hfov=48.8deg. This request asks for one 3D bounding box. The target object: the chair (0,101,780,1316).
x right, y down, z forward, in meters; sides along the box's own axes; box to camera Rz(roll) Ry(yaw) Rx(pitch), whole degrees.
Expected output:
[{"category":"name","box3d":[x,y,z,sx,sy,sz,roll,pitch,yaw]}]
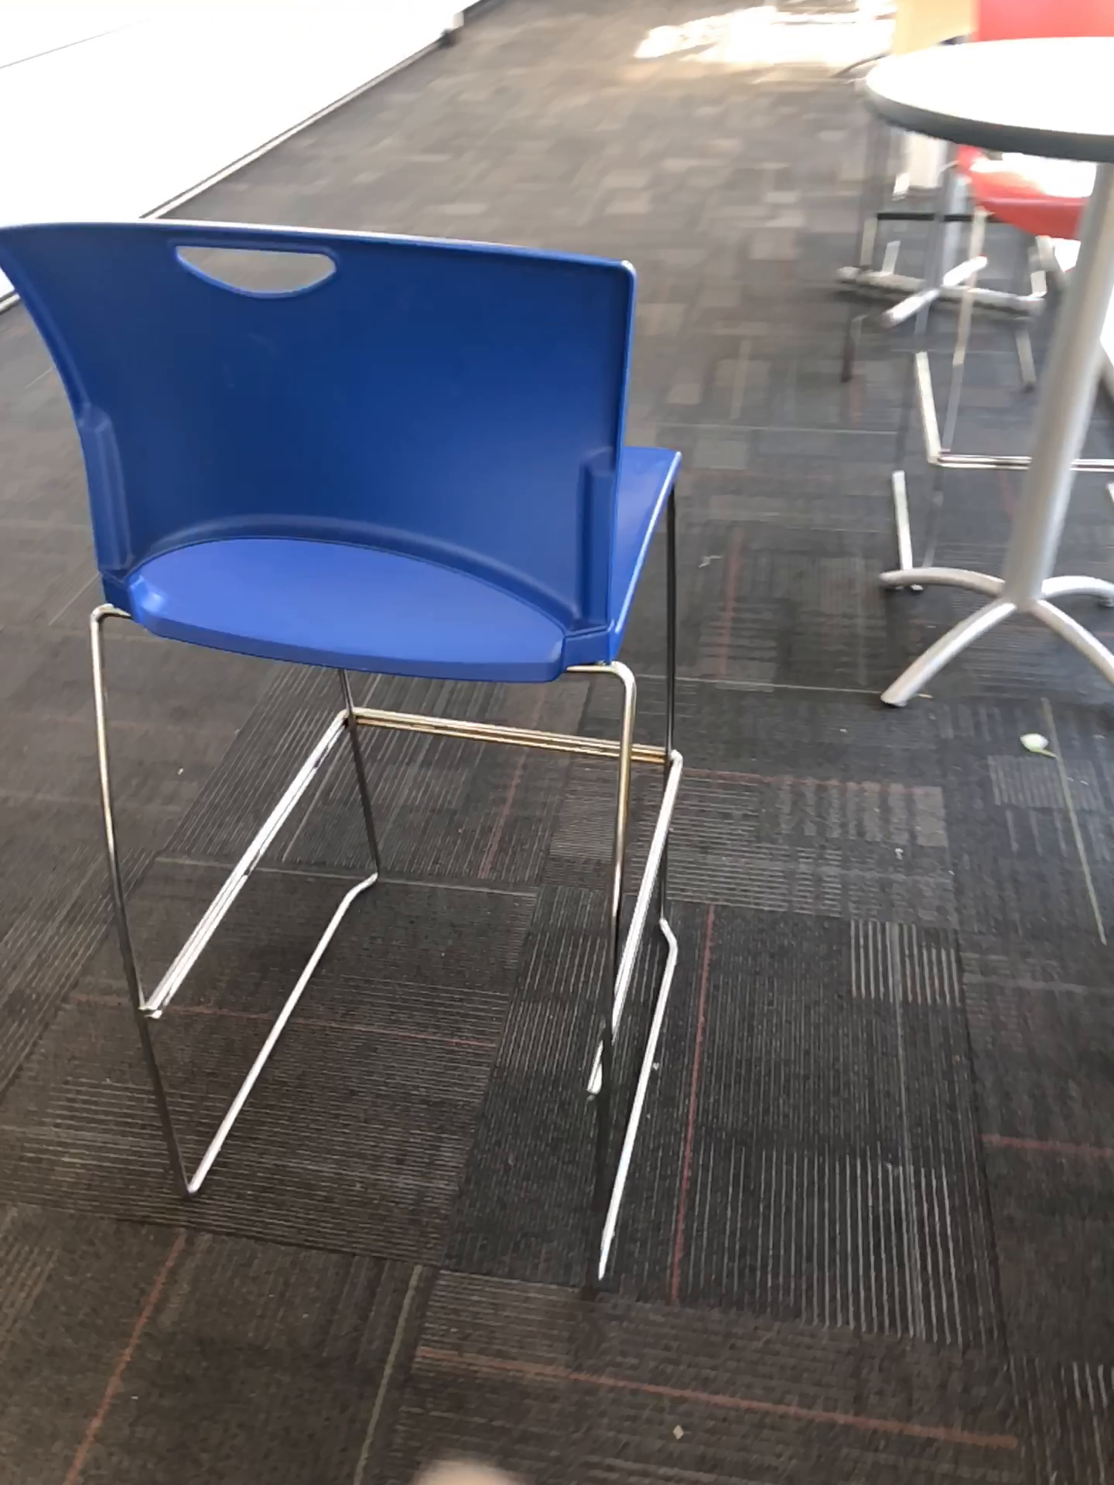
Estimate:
[{"category":"chair","box3d":[-0.132,-0.046,1.221,0.551,0.965,0.613,8,37,14]}]
